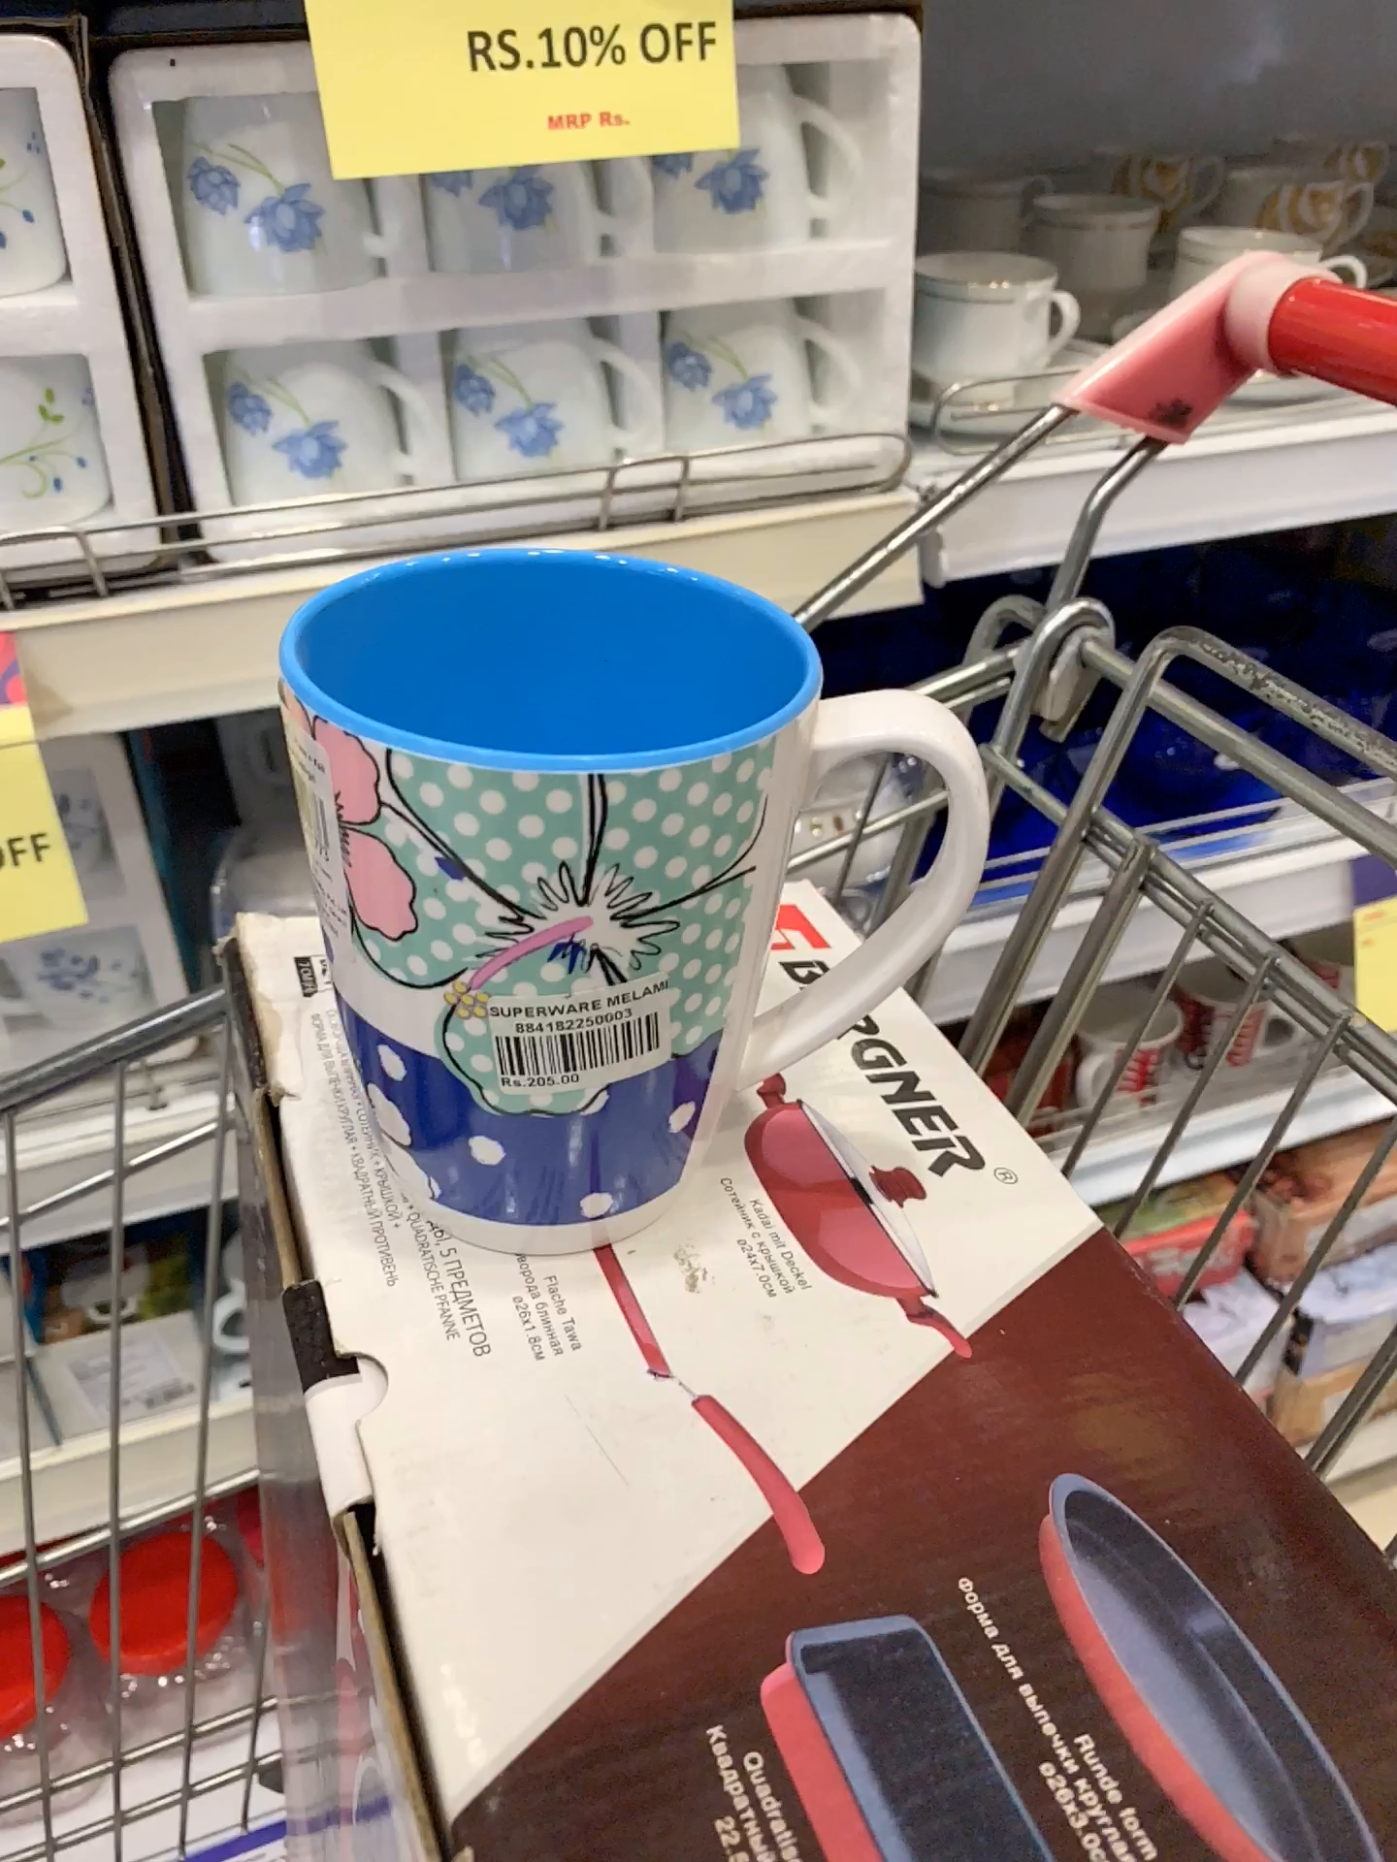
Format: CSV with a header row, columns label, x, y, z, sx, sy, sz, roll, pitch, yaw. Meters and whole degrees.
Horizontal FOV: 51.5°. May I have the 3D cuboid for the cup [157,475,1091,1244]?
label,x,y,z,sx,sy,sz,roll,pitch,yaw
cup,-0.014,-0.014,0.247,0.120,0.100,0.080,-1,35,-7
